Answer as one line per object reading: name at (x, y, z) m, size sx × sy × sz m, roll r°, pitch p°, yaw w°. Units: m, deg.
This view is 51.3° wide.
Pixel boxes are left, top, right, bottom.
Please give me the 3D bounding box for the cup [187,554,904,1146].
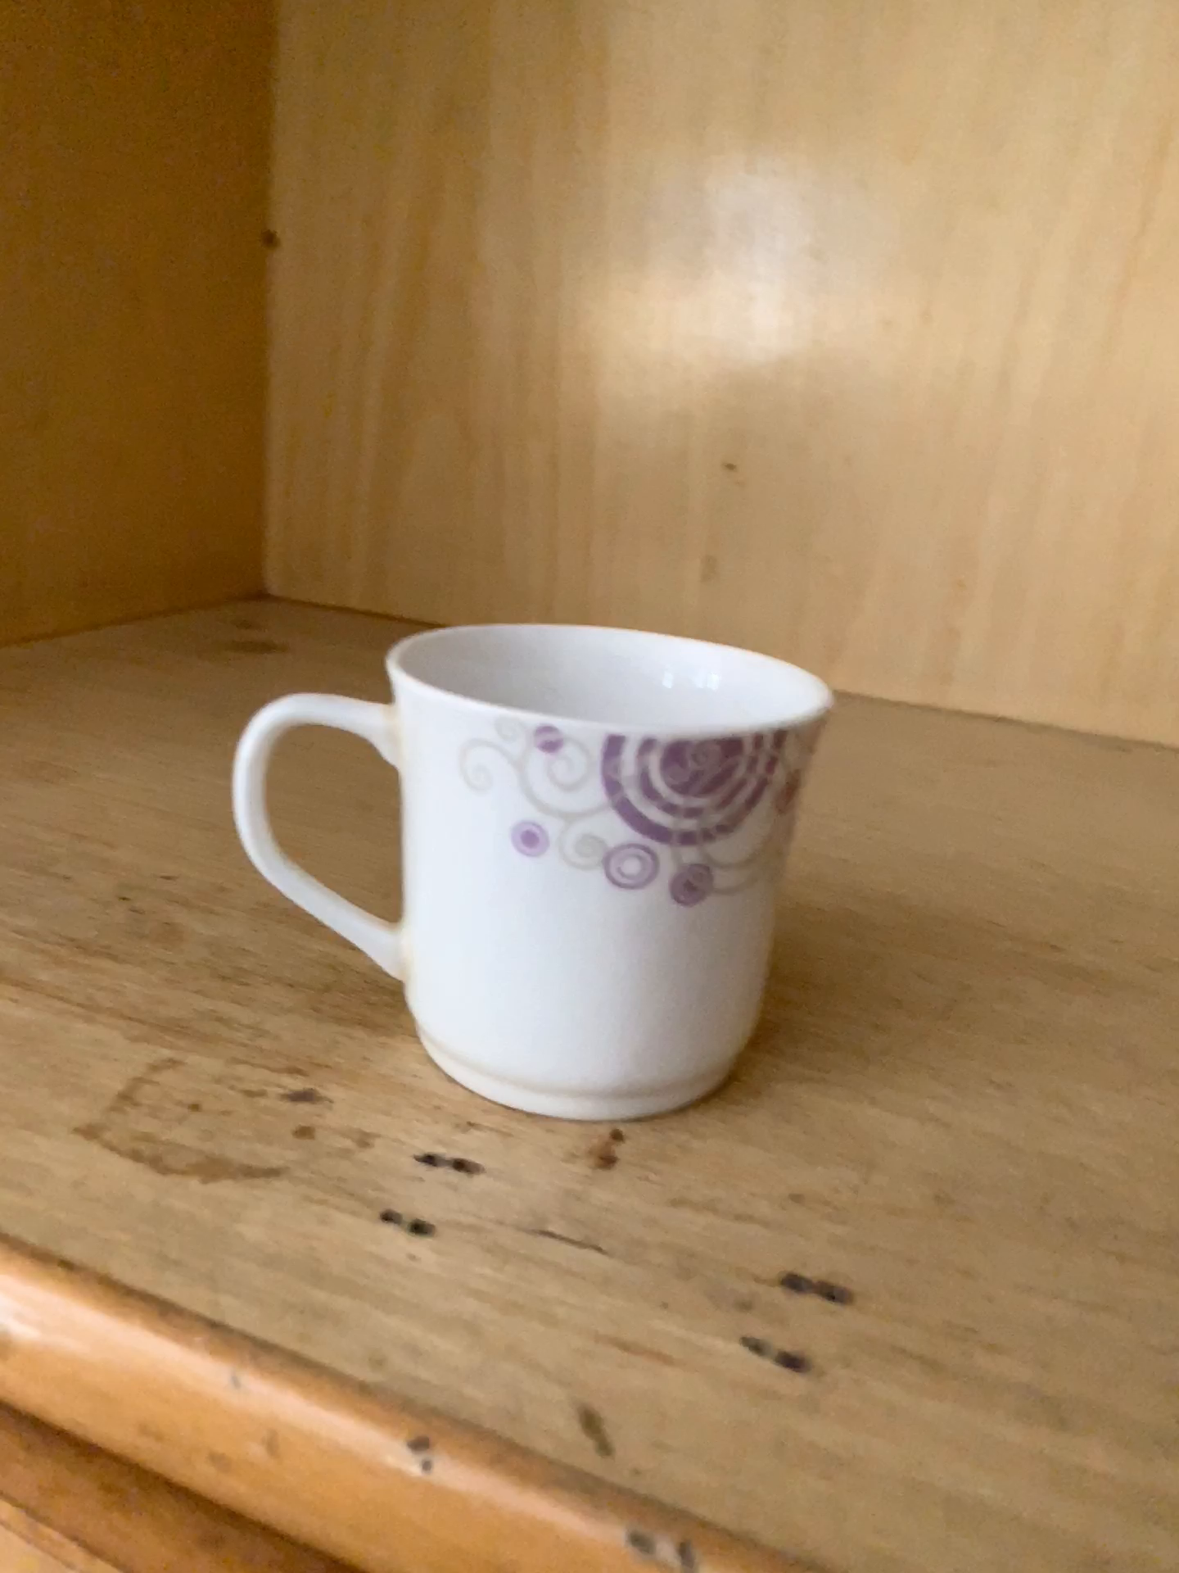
cup at (-0.012, 0.006, 0.196) m, size 0.090 × 0.070 × 0.070 m, roll 2°, pitch 17°, yaw -10°
